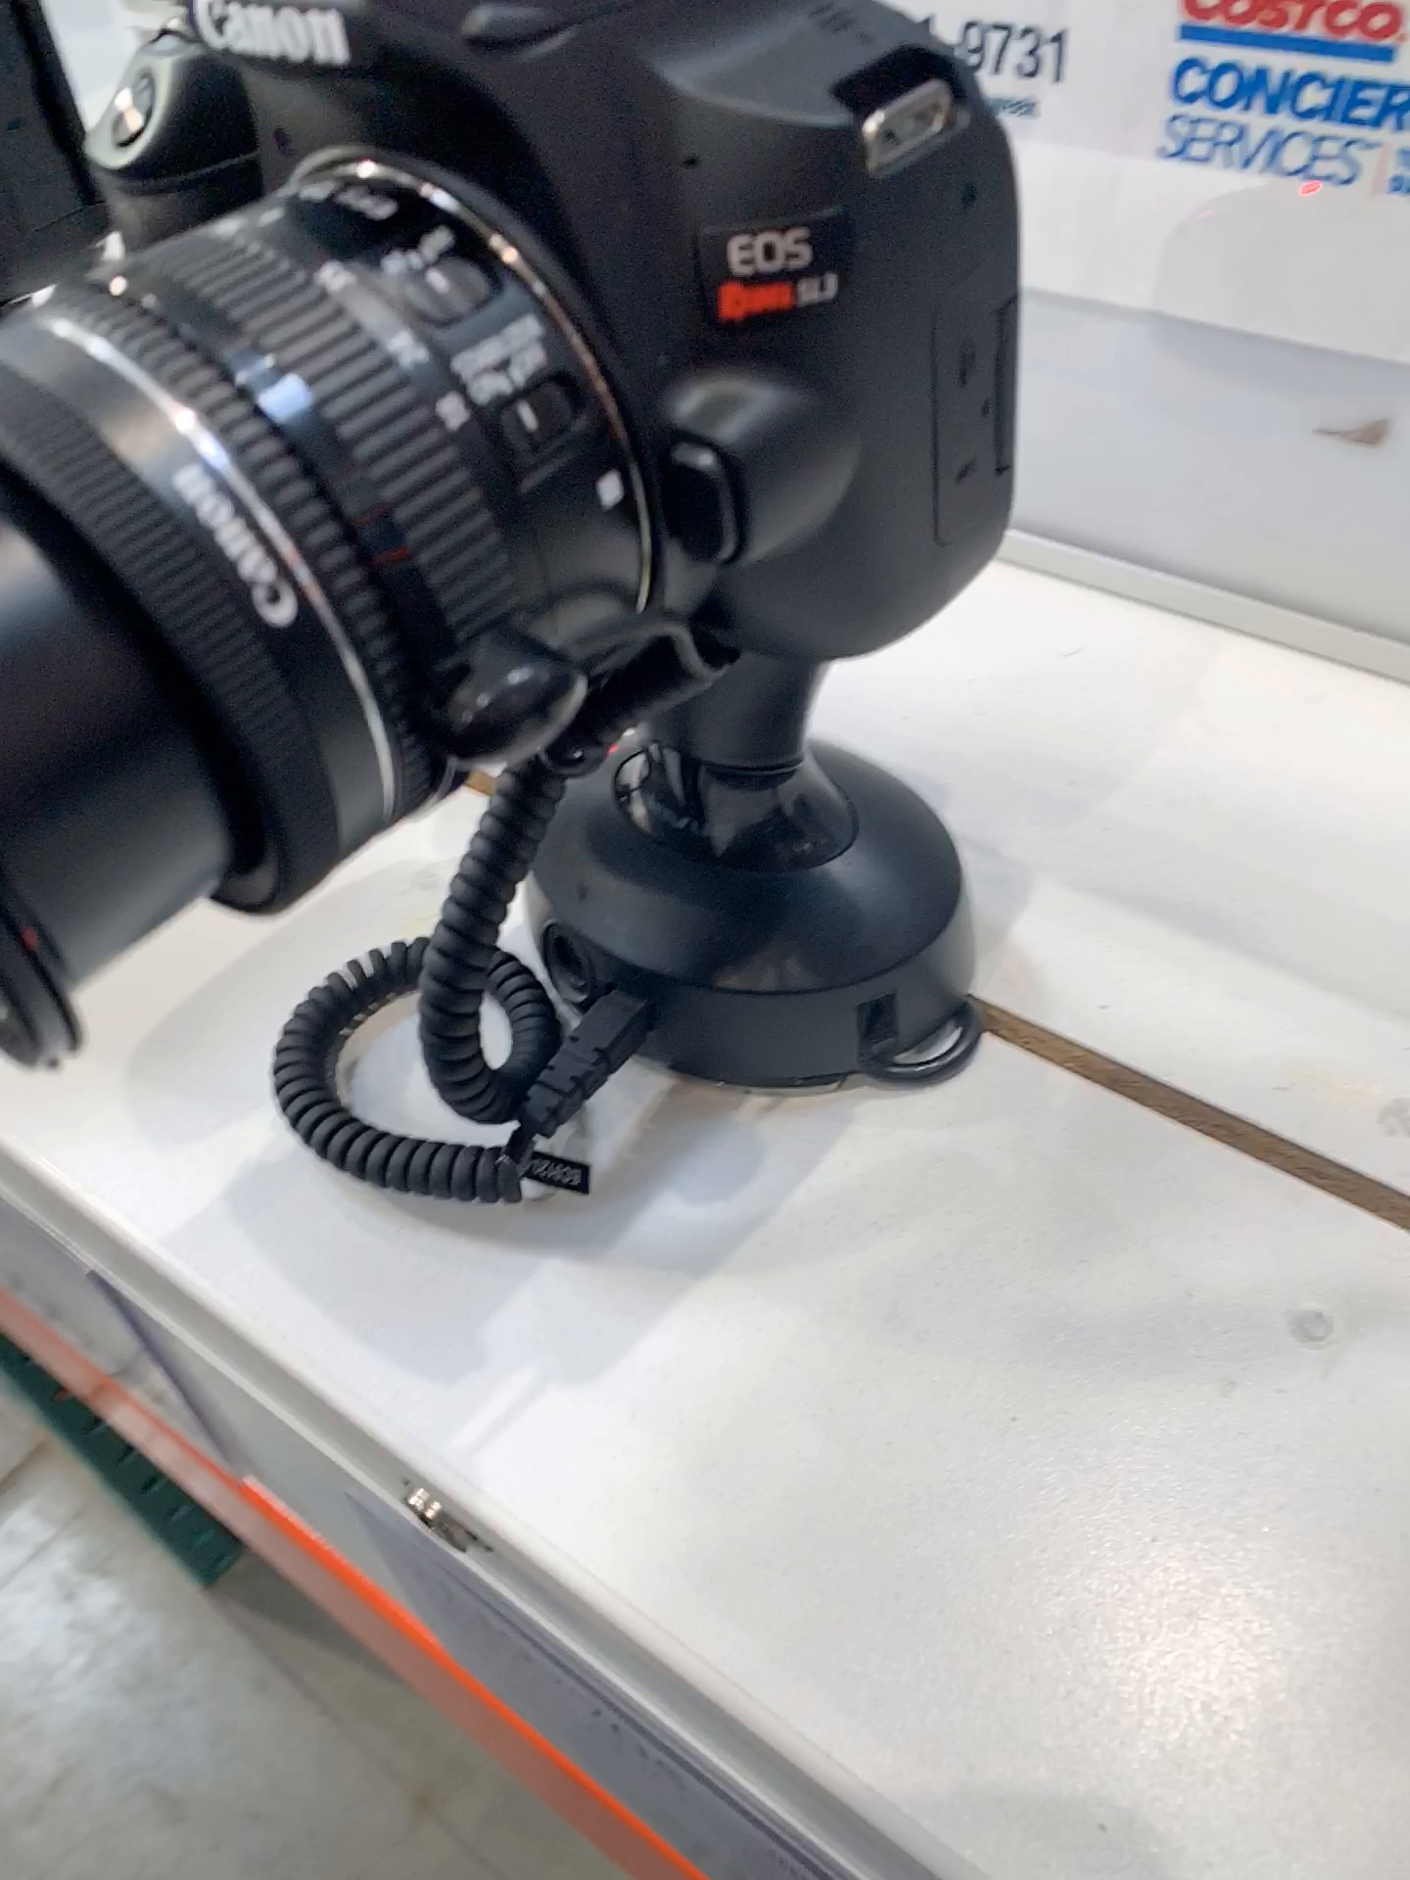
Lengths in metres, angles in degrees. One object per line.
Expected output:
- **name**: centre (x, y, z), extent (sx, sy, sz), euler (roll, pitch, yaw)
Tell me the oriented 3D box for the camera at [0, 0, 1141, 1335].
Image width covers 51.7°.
- **camera**: centre (-0.045, -0.061, 0.155), extent (0.120, 0.079, 0.141), euler (25, 54, 27)
